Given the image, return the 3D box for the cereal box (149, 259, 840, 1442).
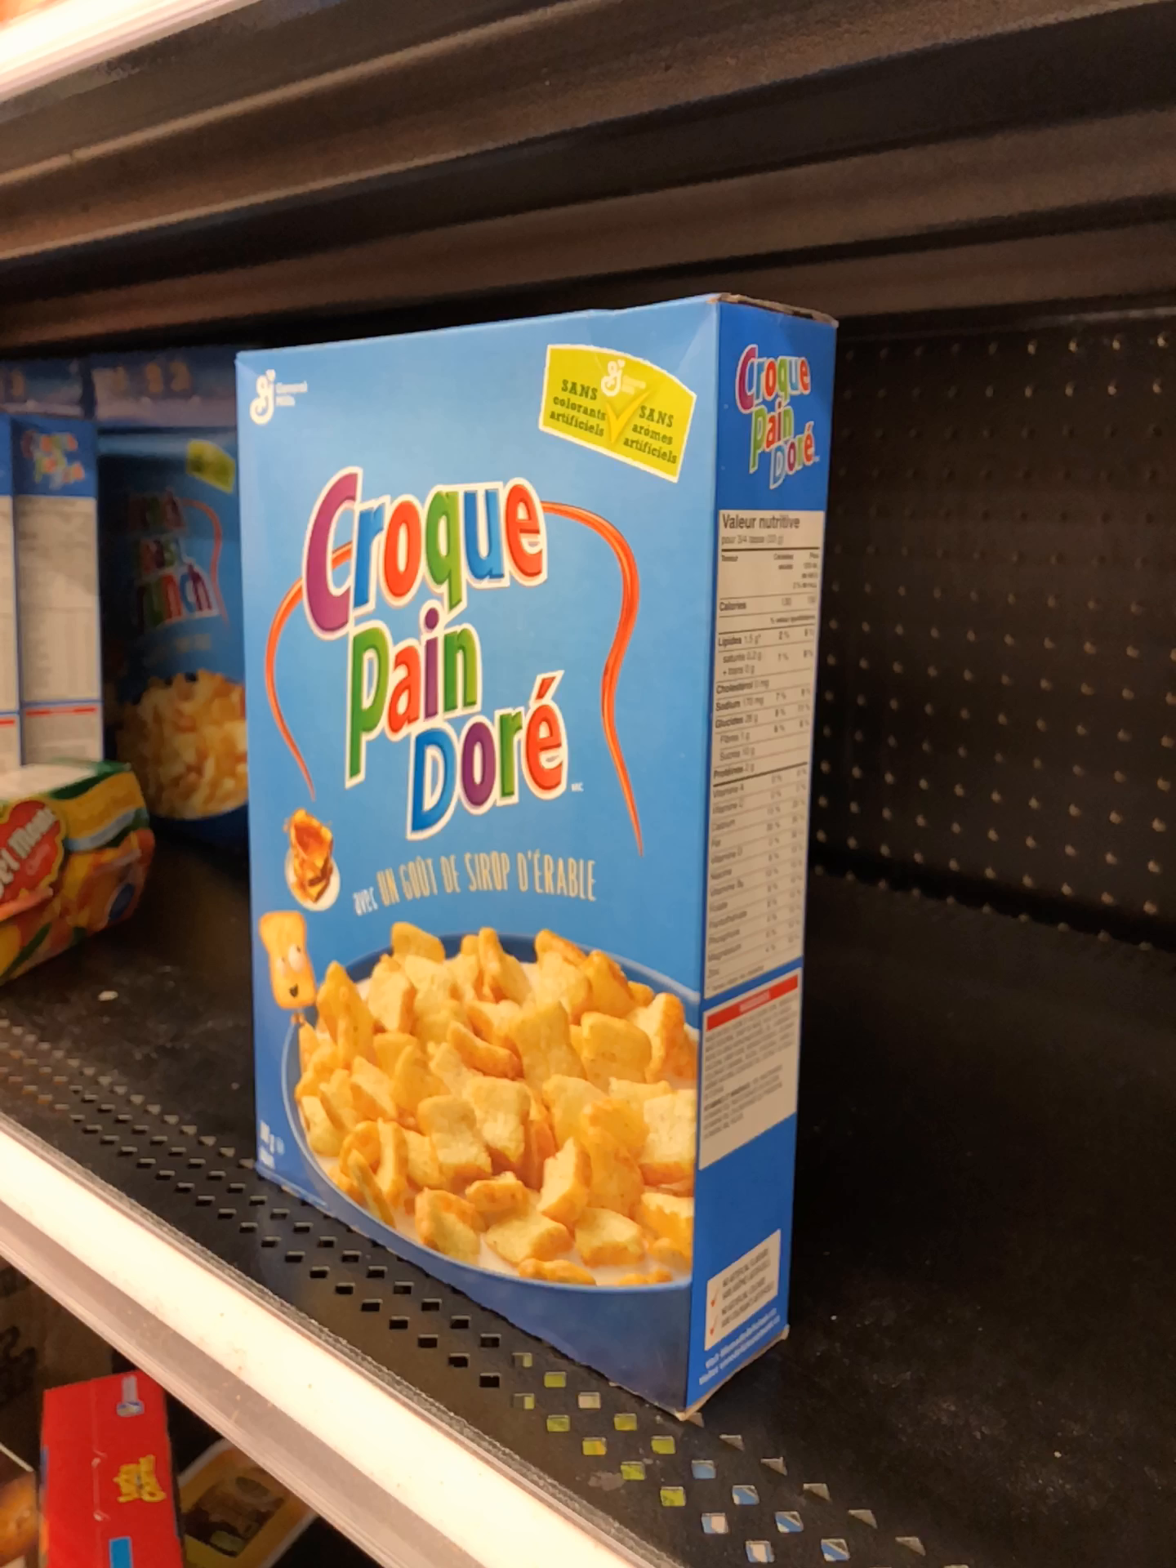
[{"bbox_3d":[-0.041,0.007,0.375,0.210,0.269,0.050,10,14,39],"label":"cereal box"}]
